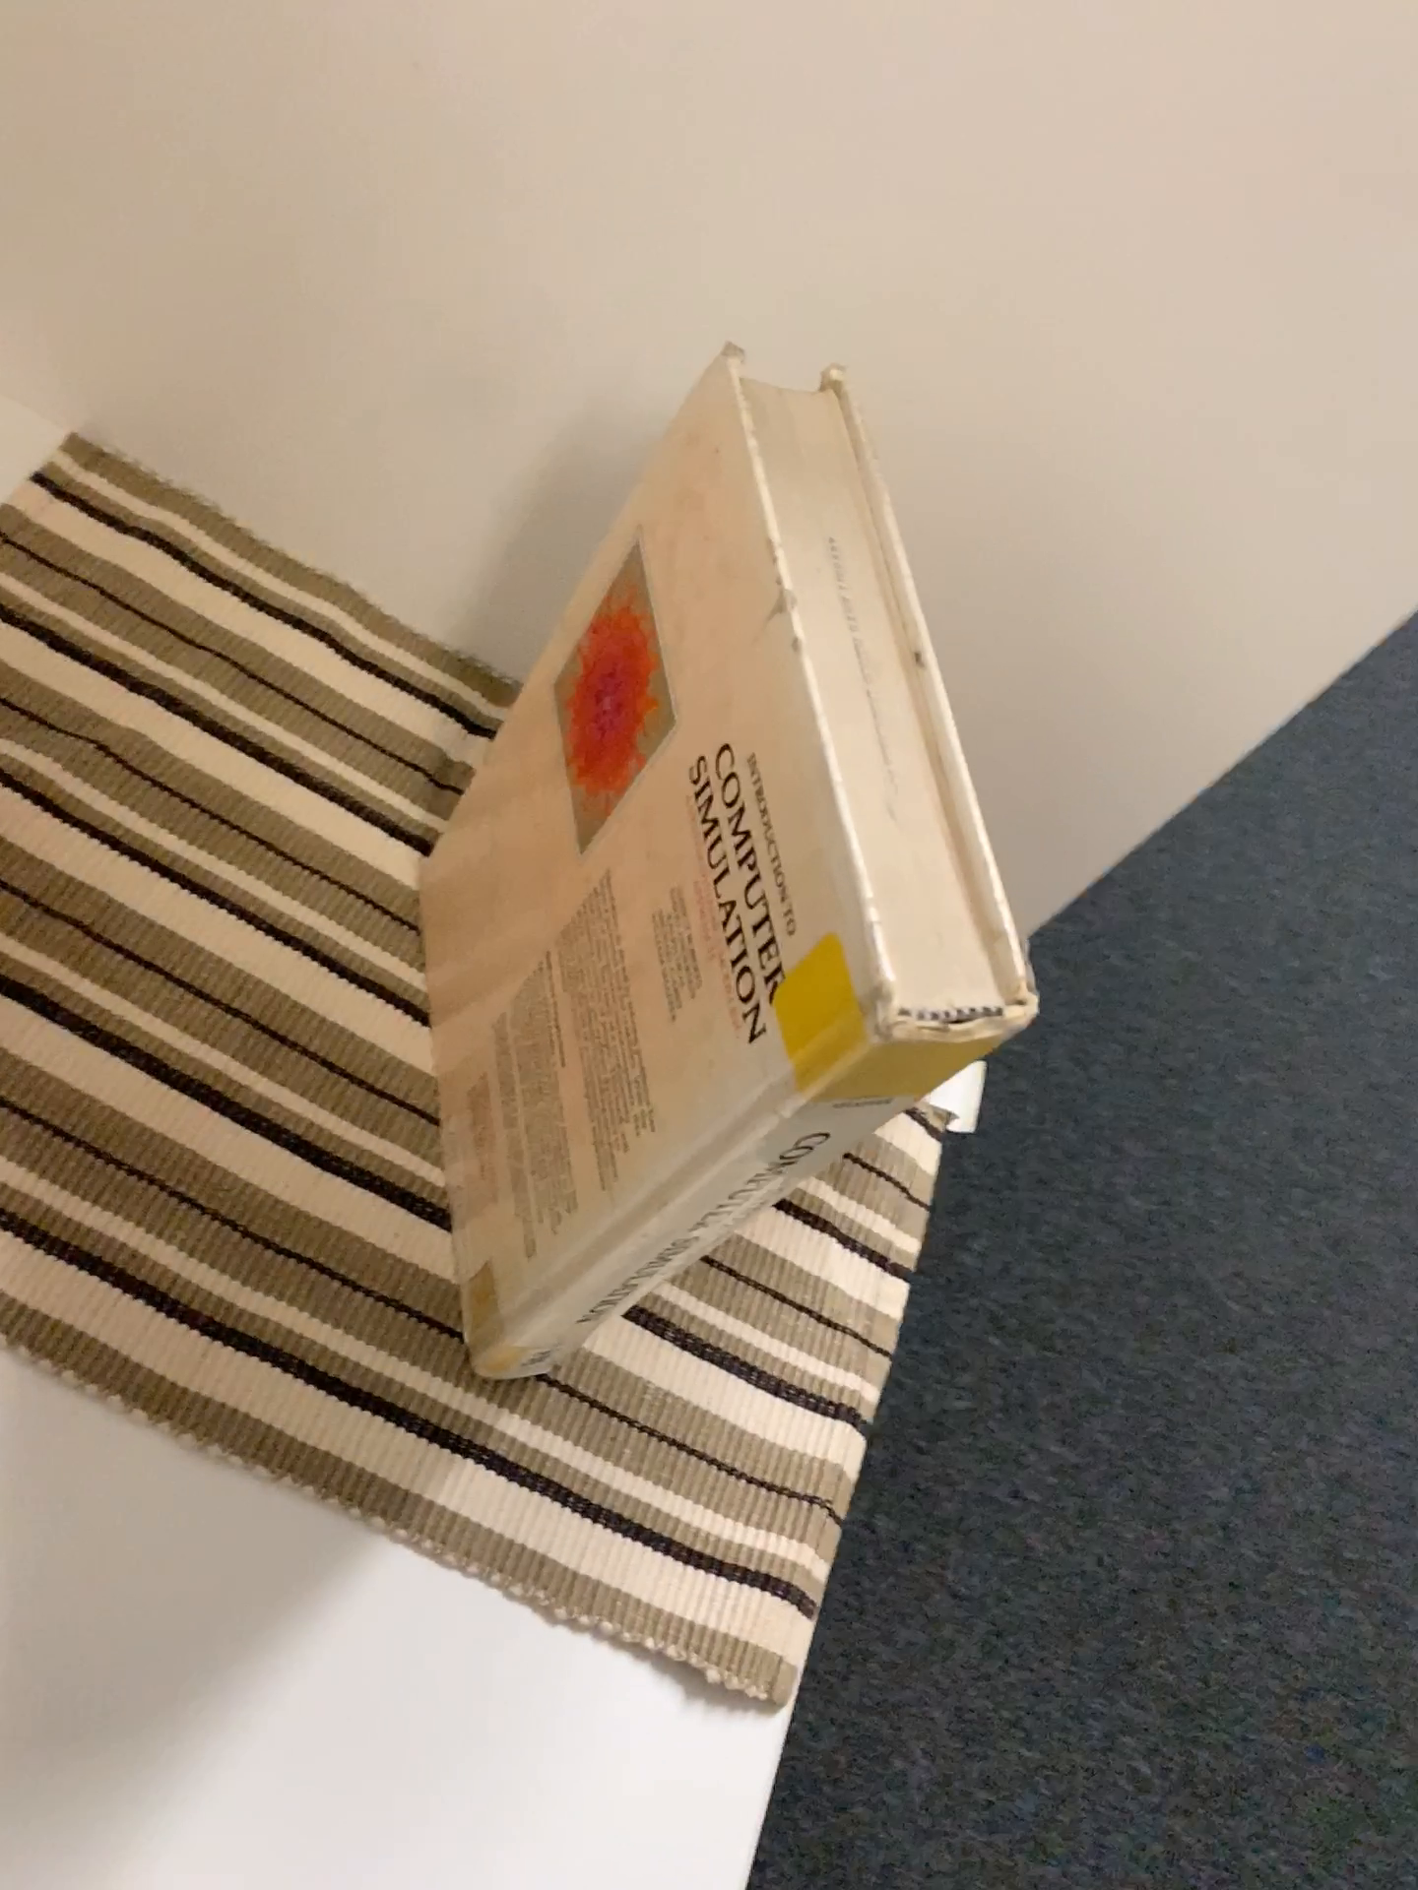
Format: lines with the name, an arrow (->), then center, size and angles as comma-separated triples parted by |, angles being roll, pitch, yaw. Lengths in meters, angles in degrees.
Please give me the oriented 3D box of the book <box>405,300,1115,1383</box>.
book -> -0.016, -0.006, 0.375 | 0.040, 0.238, 0.171 | 1, 61, -29
